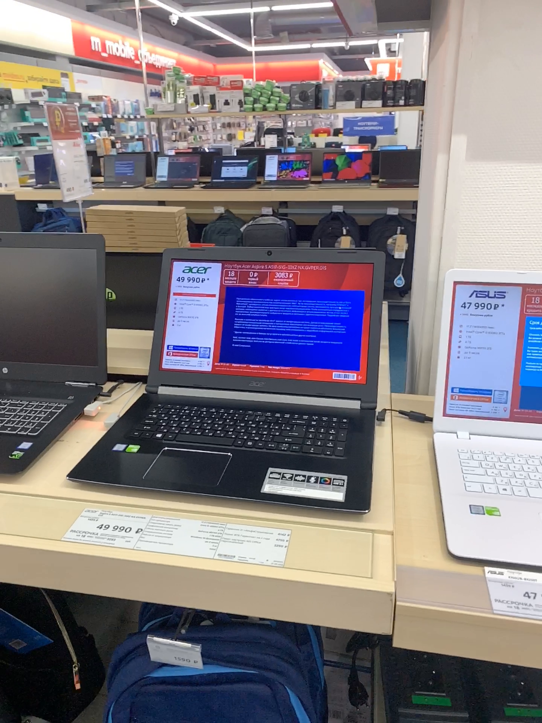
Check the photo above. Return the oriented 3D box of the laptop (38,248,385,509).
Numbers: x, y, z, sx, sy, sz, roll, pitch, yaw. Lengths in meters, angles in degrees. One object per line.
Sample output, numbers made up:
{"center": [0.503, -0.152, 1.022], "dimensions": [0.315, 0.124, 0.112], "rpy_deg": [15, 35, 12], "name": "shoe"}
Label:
{"center": [-0.042, -0.016, 0.894], "dimensions": [0.420, 0.235, 0.422], "rpy_deg": [3, 24, 11], "name": "laptop"}
